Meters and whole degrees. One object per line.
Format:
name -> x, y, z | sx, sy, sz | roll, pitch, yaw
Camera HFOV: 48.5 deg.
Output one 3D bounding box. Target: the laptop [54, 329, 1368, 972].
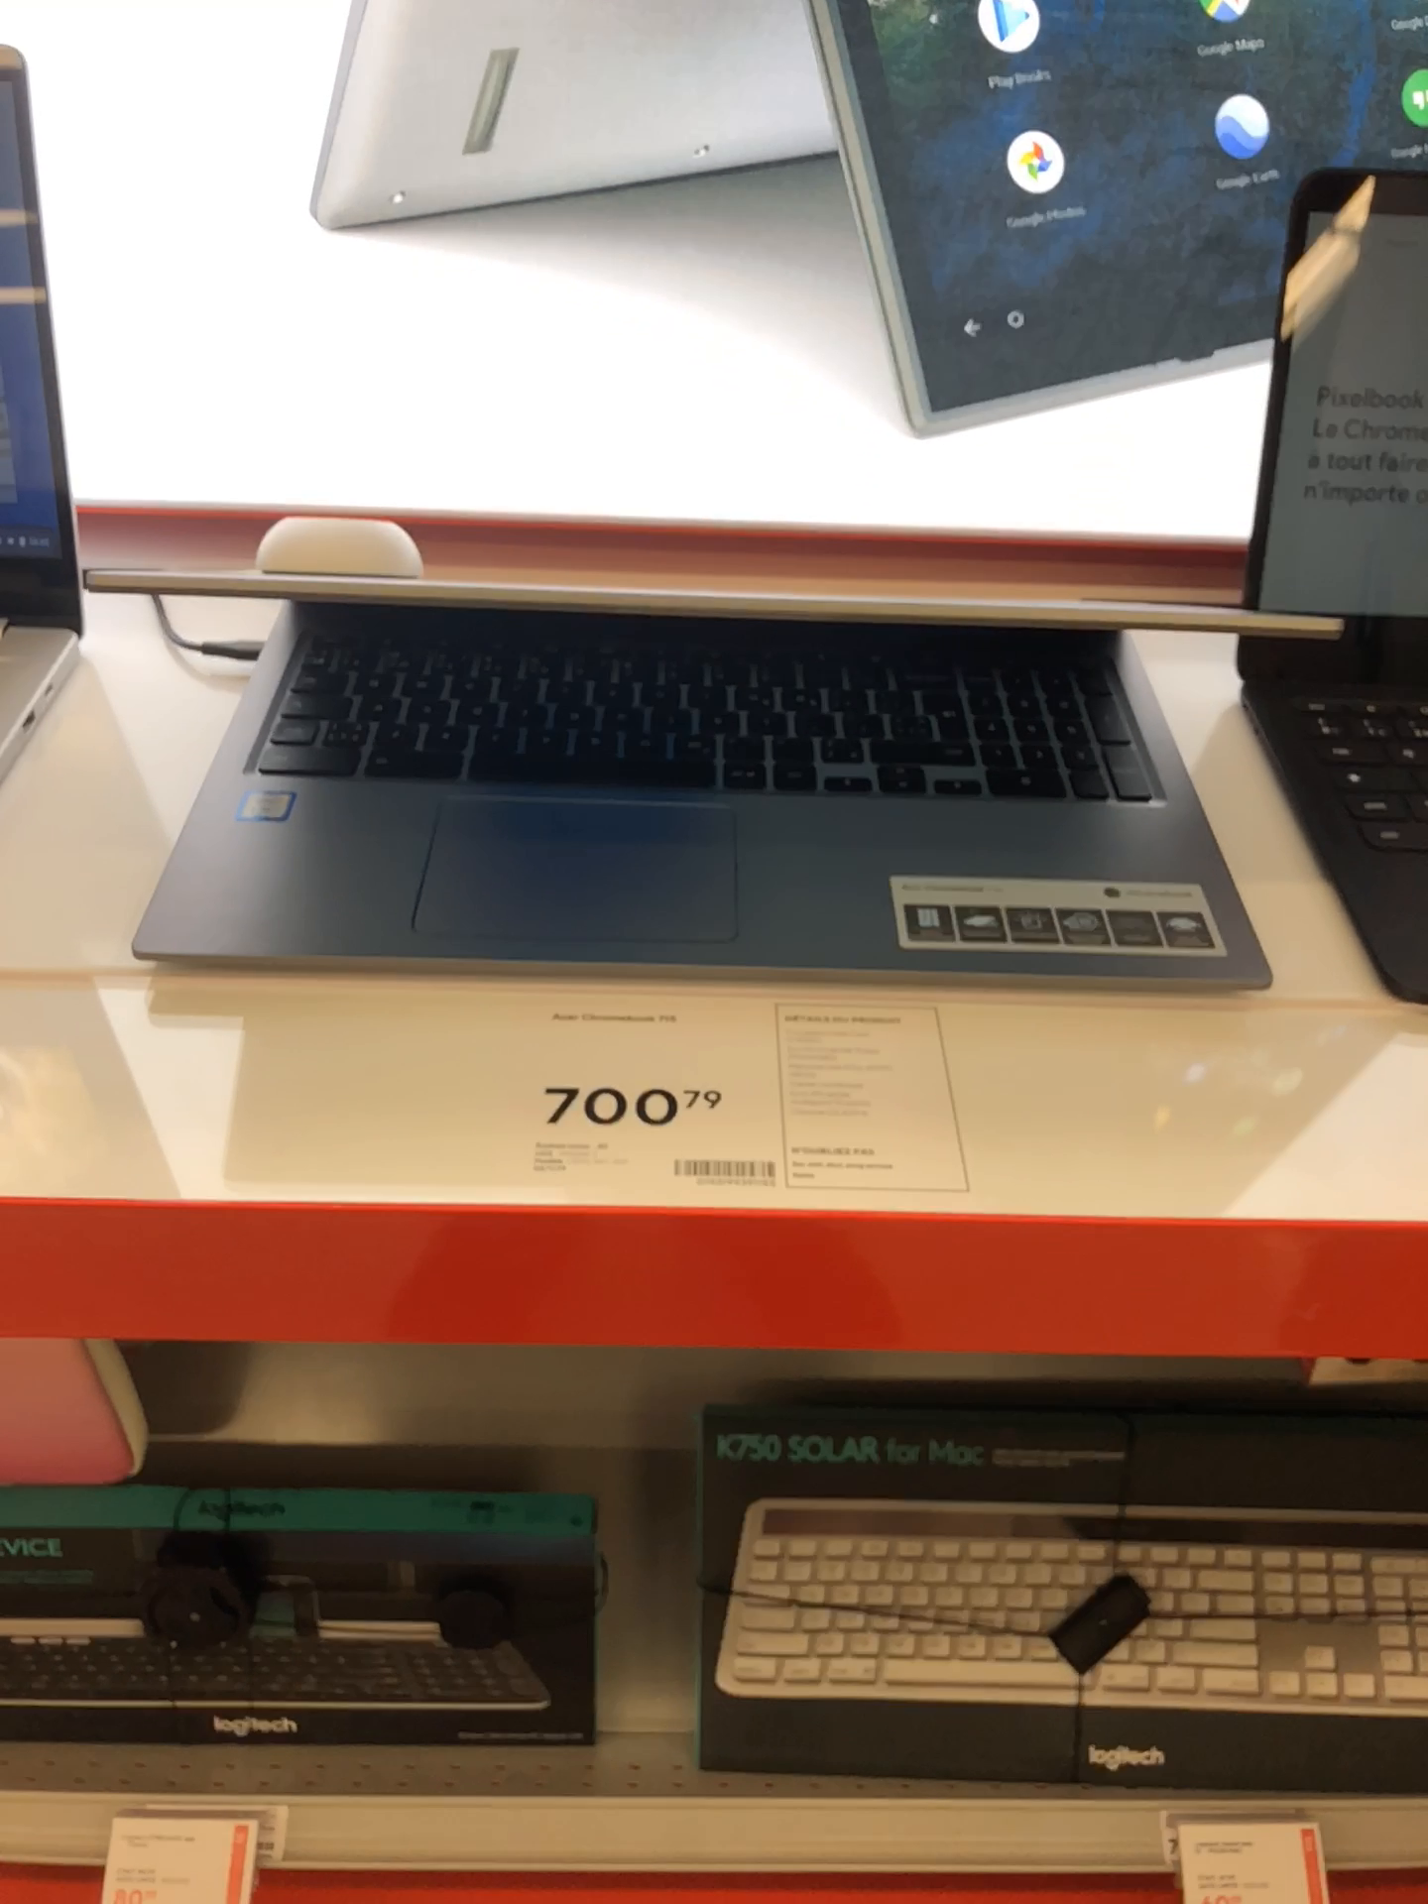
laptop -> 0.002, -0.118, 0.570 | 0.368, 0.109, 0.245 | 1, 40, -4
